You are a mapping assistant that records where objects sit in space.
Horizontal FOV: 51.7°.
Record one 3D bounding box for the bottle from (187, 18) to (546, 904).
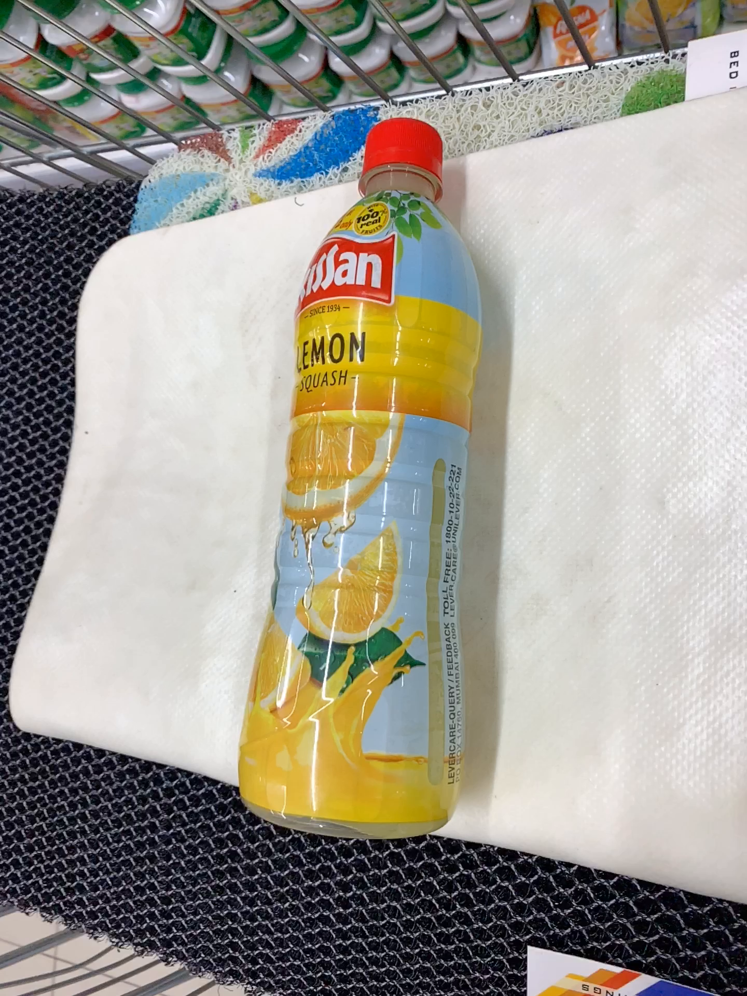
[{"bbox_3d":[0.004,-0.012,0.246,0.080,0.070,0.230,1,84,23],"label":"bottle"}]
